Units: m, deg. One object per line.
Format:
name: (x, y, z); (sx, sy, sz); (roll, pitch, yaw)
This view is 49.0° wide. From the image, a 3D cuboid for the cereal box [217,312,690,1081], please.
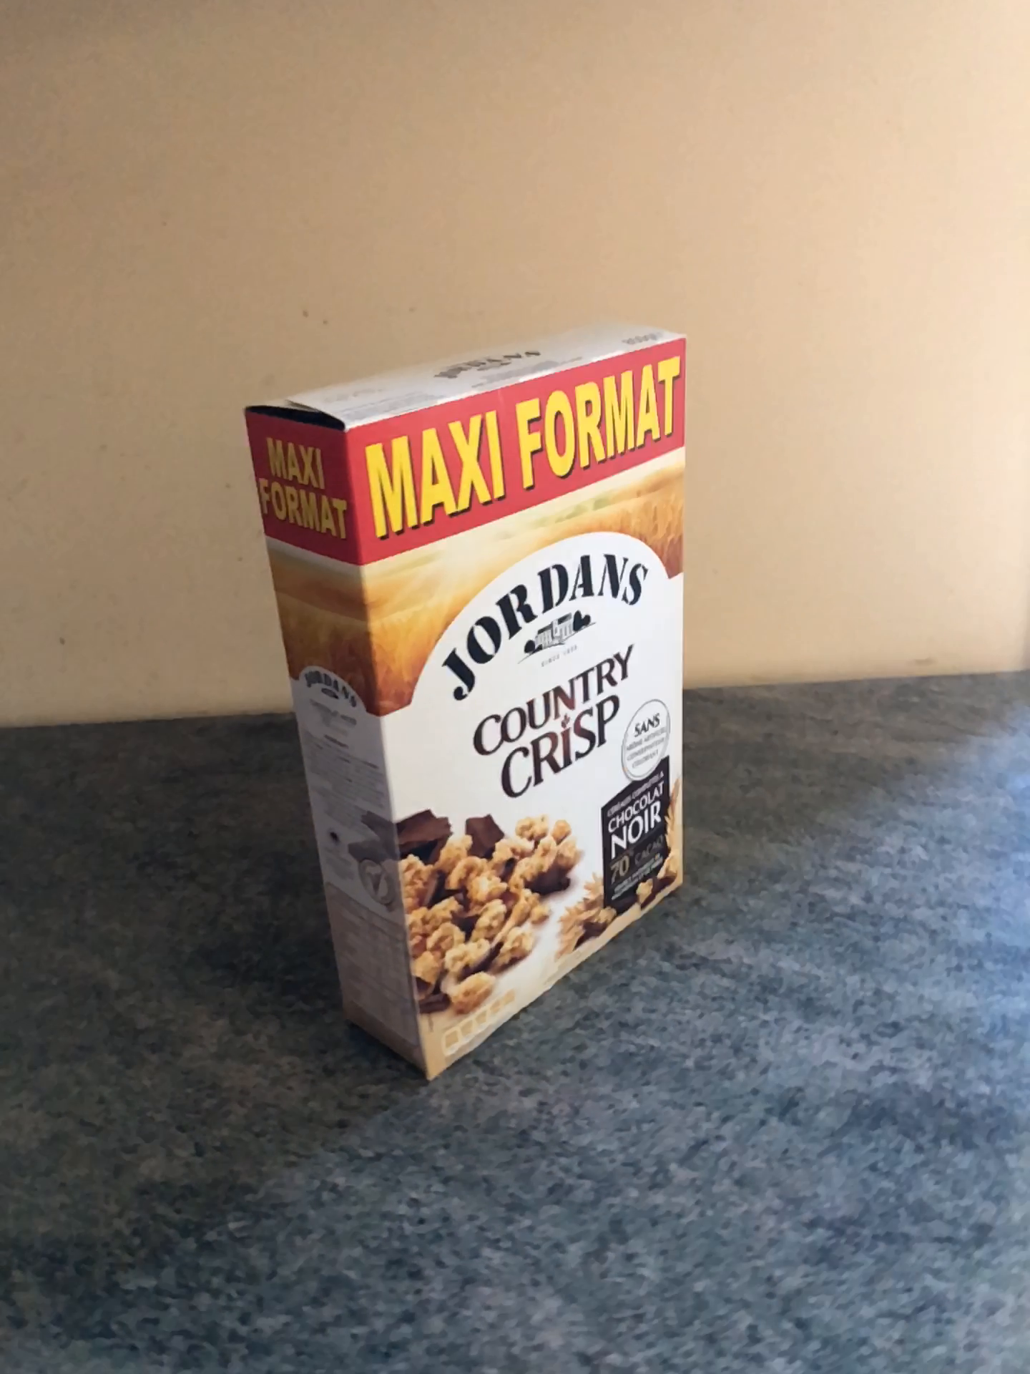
cereal box: (-0.008, -0.002, 0.529); (0.070, 0.298, 0.201); (21, 35, 40)
